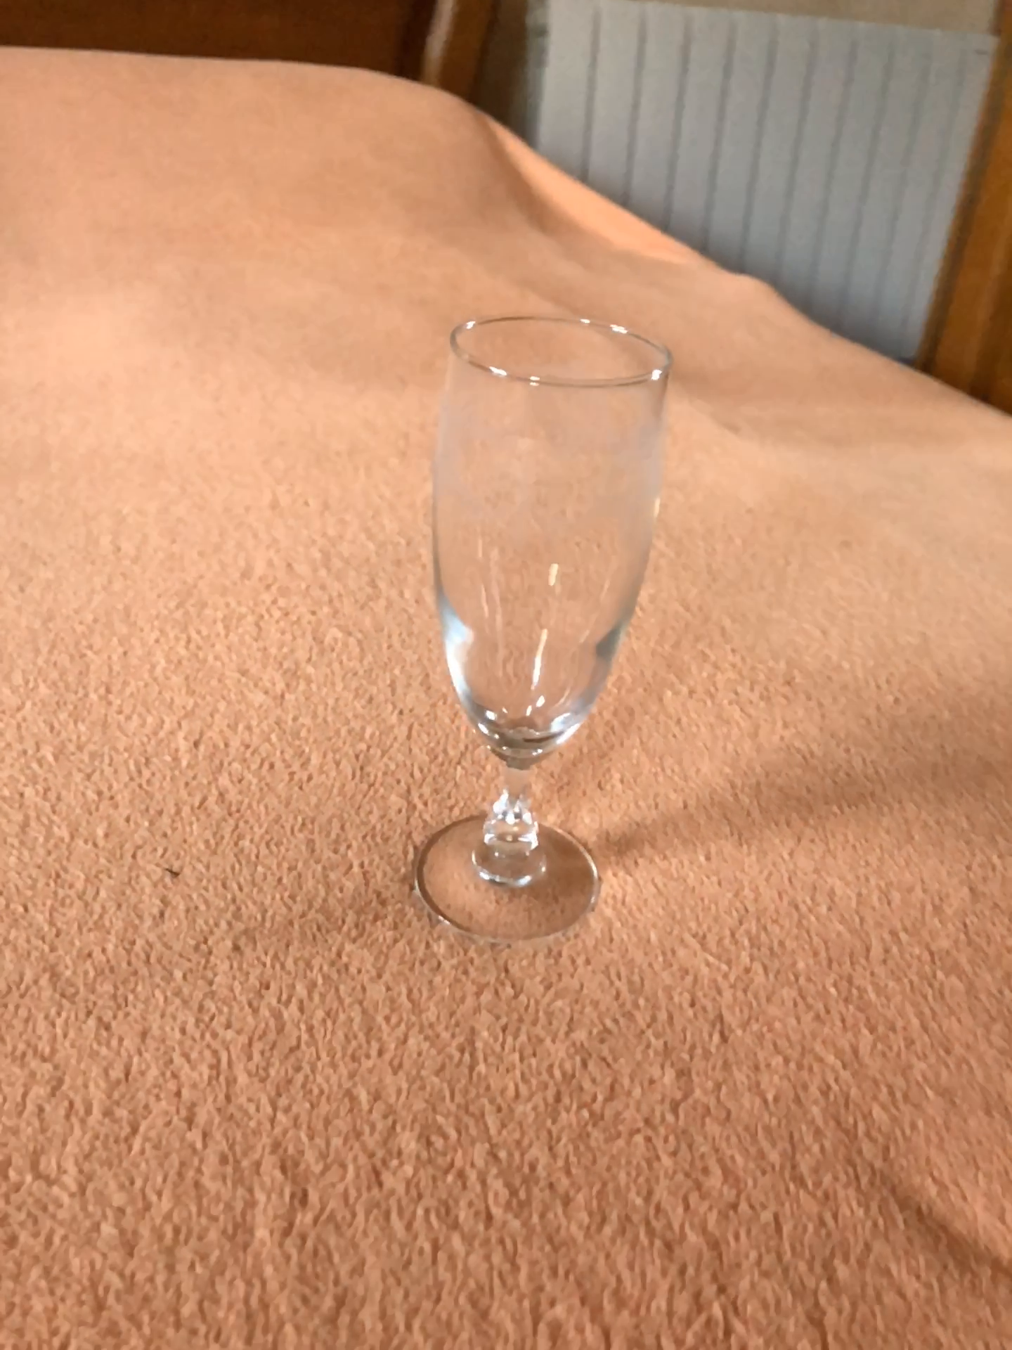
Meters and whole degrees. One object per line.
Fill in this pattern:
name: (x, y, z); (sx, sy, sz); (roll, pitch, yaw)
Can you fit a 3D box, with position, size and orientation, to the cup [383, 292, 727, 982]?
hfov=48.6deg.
cup: (0.010, -0.008, 0.291); (0.060, 0.159, 0.060); (4, 29, -2)
